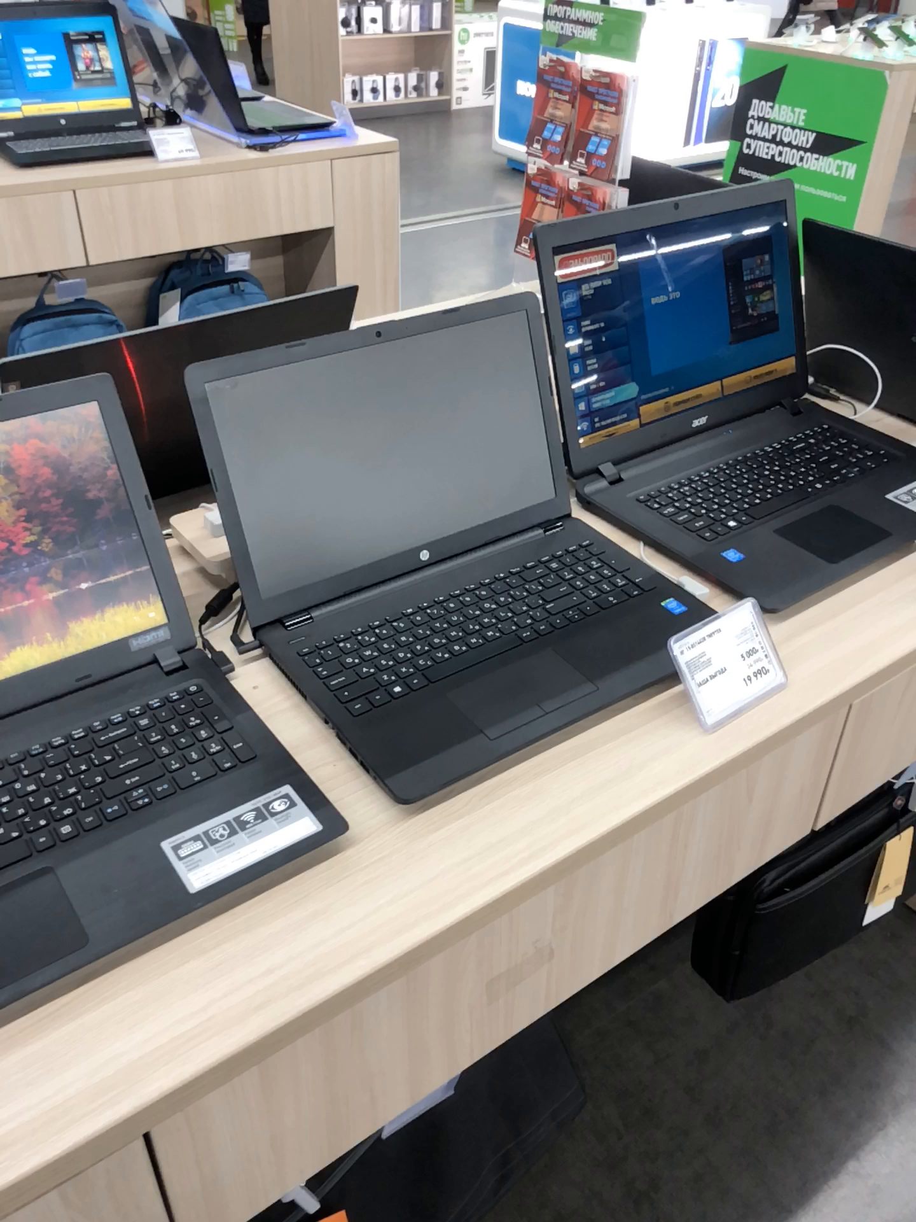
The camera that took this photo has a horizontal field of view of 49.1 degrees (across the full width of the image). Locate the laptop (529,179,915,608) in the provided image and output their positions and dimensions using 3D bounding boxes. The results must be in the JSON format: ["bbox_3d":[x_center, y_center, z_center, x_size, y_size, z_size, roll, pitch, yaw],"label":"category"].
[{"bbox_3d":[0.358,-0.277,1.124,0.397,0.267,0.396,-22,41,-28],"label":"laptop"}]

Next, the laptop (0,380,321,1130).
[{"bbox_3d":[-0.332,0.042,0.696,0.360,0.226,0.351,-22,41,-30],"label":"laptop"}]

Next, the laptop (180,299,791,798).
[{"bbox_3d":[0.016,-0.089,0.901,0.377,0.215,0.335,-22,43,-29],"label":"laptop"}]
